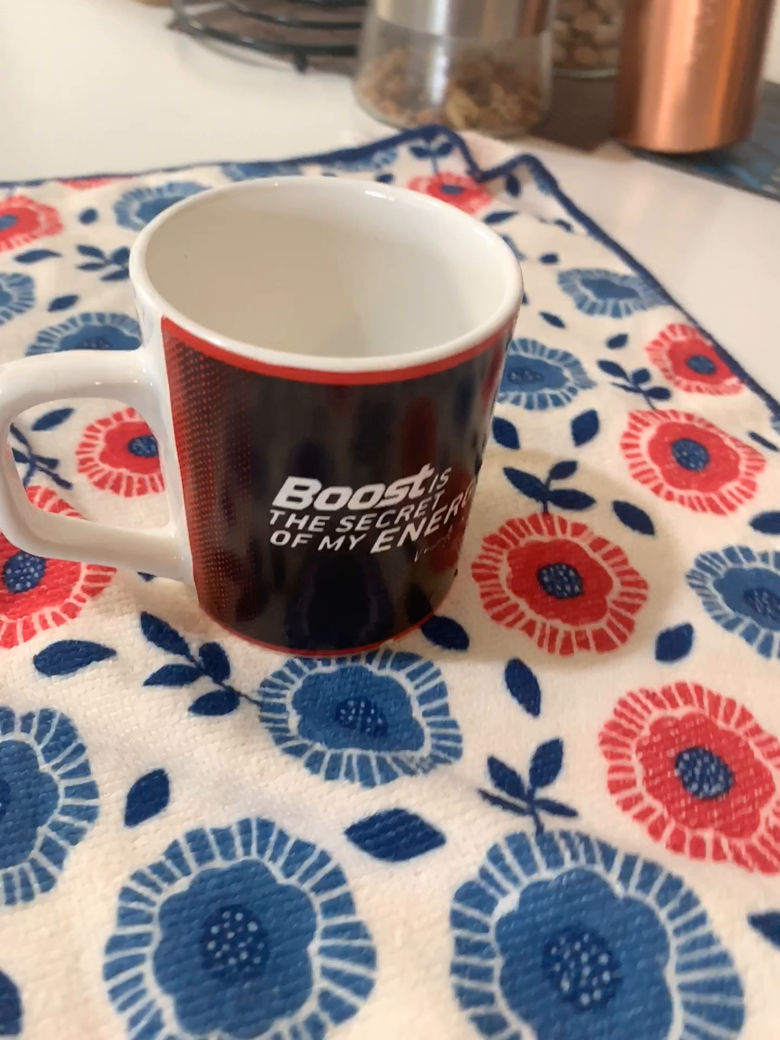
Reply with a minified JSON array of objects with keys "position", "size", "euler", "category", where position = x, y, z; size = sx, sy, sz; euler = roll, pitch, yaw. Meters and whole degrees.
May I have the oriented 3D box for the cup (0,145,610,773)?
[{"position":[-0.030,-0.020,0.185],"size":[0.110,0.089,0.081],"euler":[-15,48,-22],"category":"cup"}]
